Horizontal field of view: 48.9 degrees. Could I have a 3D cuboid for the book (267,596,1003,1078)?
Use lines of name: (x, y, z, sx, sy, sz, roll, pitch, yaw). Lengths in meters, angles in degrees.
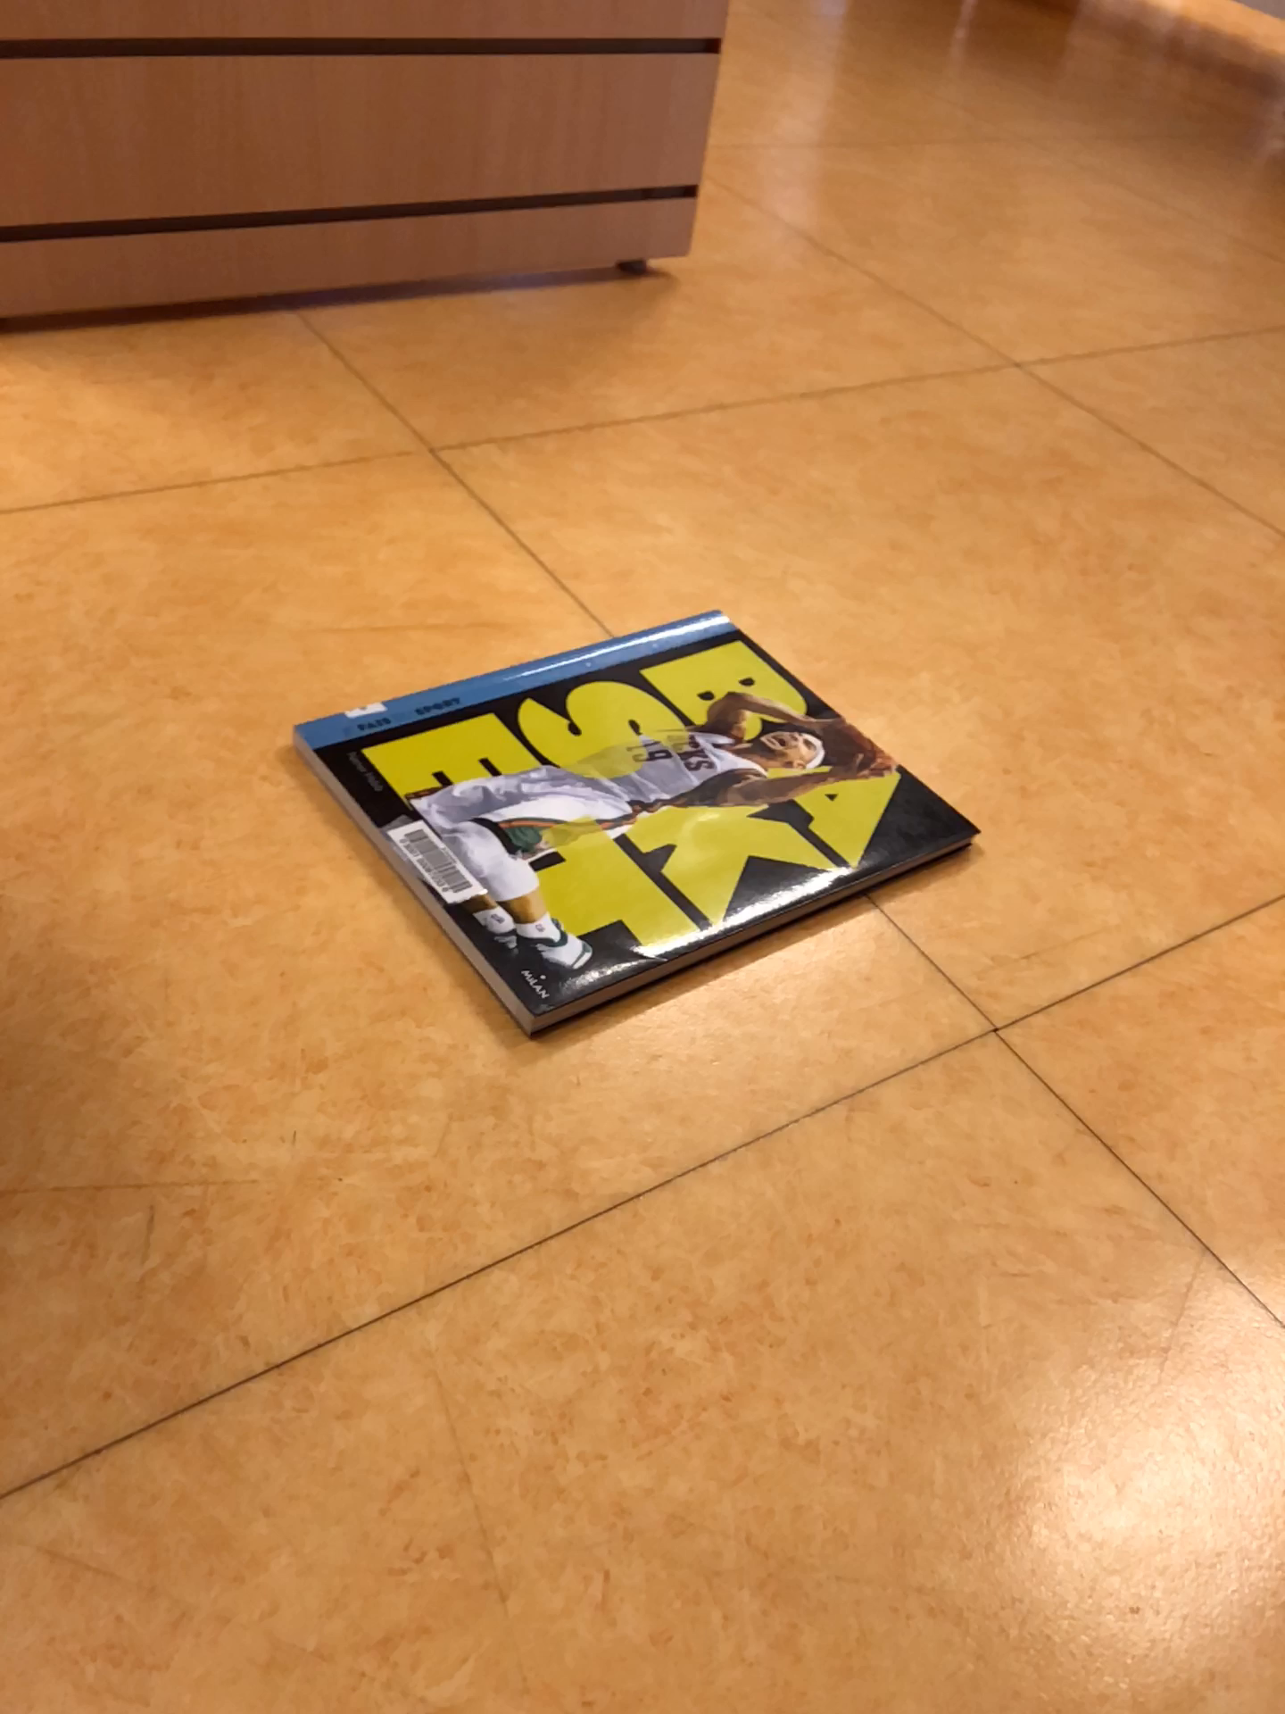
book: (-0.002, -0.028, 0.605, 0.246, 0.020, 0.200, -21, 50, -32)
